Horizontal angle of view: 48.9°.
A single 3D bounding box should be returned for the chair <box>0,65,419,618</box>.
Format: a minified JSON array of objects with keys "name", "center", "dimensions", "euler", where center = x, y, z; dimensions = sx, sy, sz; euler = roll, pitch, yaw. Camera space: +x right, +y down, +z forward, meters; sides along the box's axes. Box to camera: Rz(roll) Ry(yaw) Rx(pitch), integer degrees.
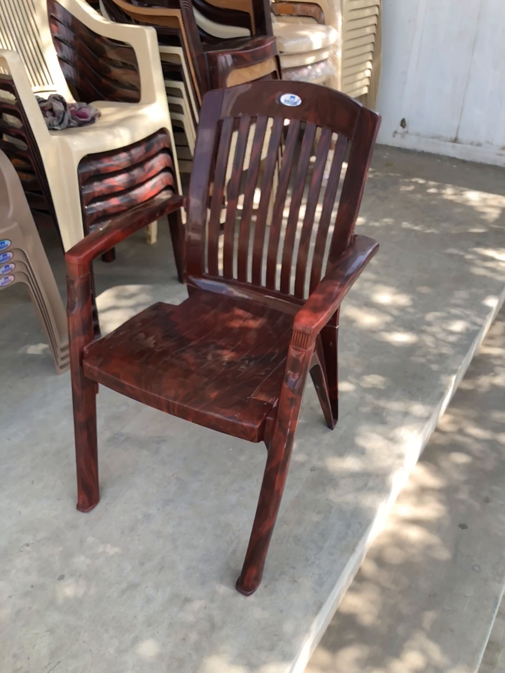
[{"name":"chair","center":[-0.089,-0.046,1.223],"dimensions":[0.610,0.855,0.694],"euler":[16,39,22]}]
